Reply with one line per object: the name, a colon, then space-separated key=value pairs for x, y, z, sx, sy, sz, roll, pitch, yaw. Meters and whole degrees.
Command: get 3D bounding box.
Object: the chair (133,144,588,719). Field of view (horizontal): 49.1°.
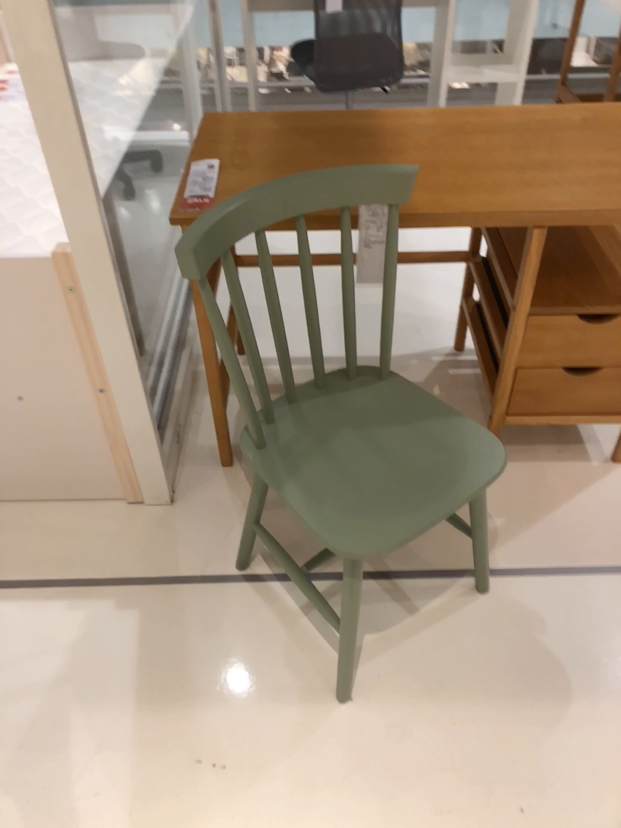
chair: x=0.069 y=0.050 z=1.241 sx=0.451 sy=0.834 sz=0.462 roll=-28 pitch=48 yaw=-26
